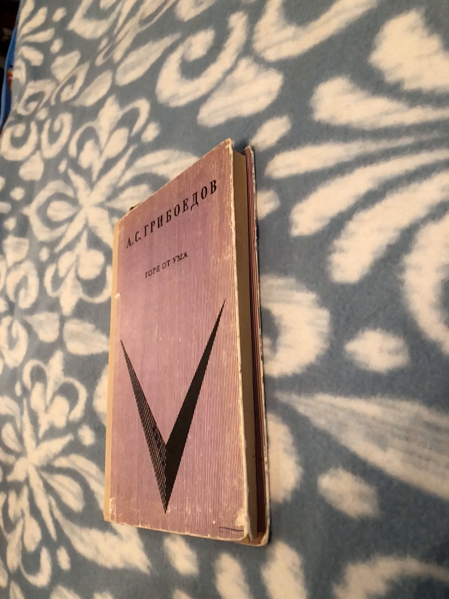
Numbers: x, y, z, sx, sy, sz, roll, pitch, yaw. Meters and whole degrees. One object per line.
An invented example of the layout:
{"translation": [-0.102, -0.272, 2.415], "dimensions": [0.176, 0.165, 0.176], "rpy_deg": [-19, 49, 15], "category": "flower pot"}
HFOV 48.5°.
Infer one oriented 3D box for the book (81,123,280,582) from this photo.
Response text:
{"translation": [-0.037, 0.031, 0.298], "dimensions": [0.159, 0.020, 0.217], "rpy_deg": [-21, 64, 48], "category": "book"}
